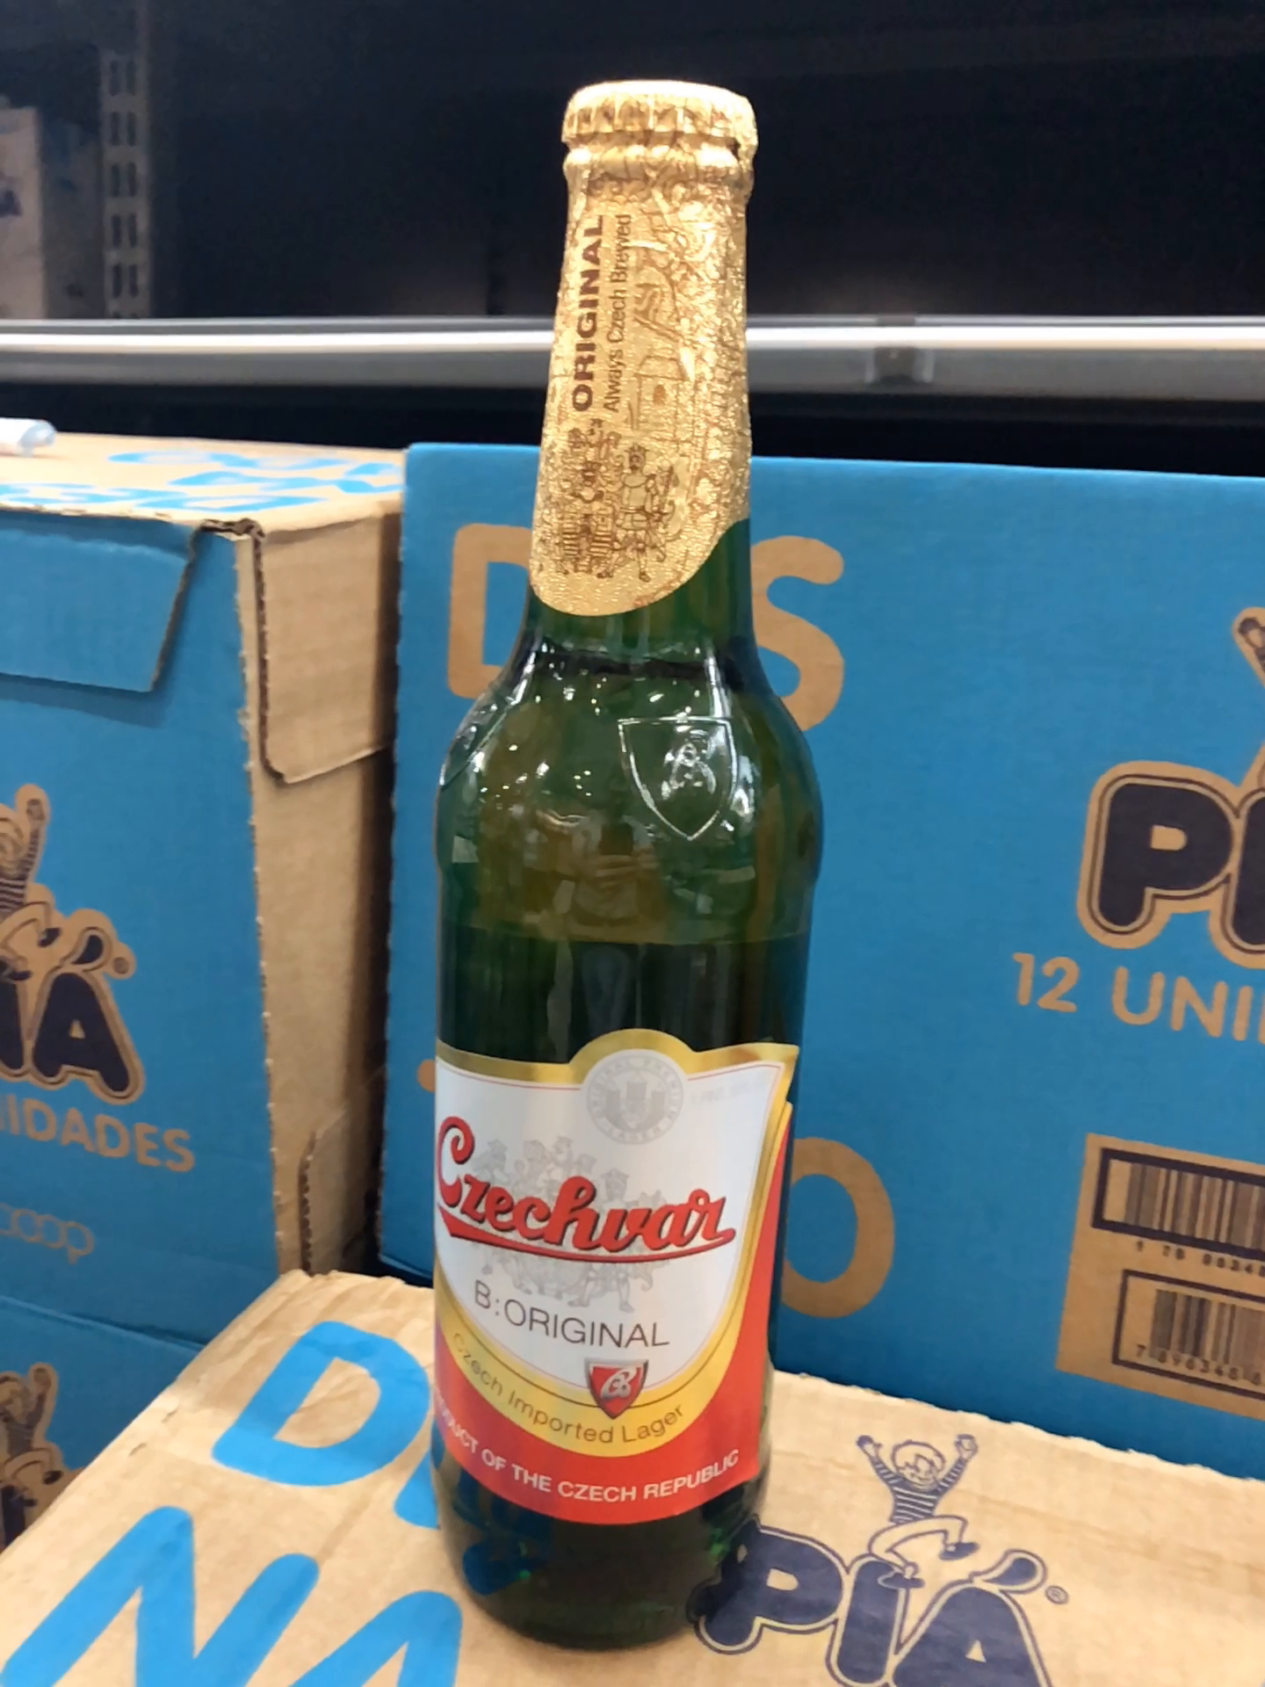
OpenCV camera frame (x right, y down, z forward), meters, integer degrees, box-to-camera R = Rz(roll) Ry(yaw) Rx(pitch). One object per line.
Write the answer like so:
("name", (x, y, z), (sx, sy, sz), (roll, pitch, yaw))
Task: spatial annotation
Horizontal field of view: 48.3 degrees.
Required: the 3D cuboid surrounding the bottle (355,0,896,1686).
("bottle", (-0.002, 0.005, 0.250), (0.070, 0.269, 0.070), (3, 12, -1))
